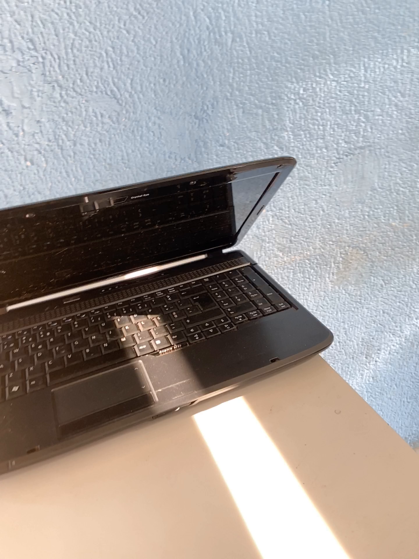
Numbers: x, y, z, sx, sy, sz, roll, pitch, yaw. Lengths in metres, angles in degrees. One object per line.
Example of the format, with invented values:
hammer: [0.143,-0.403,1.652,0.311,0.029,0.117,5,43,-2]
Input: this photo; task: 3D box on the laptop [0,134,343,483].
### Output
laptop: [-0.091,-0.016,0.458,0.378,0.174,0.236,-16,31,-19]
